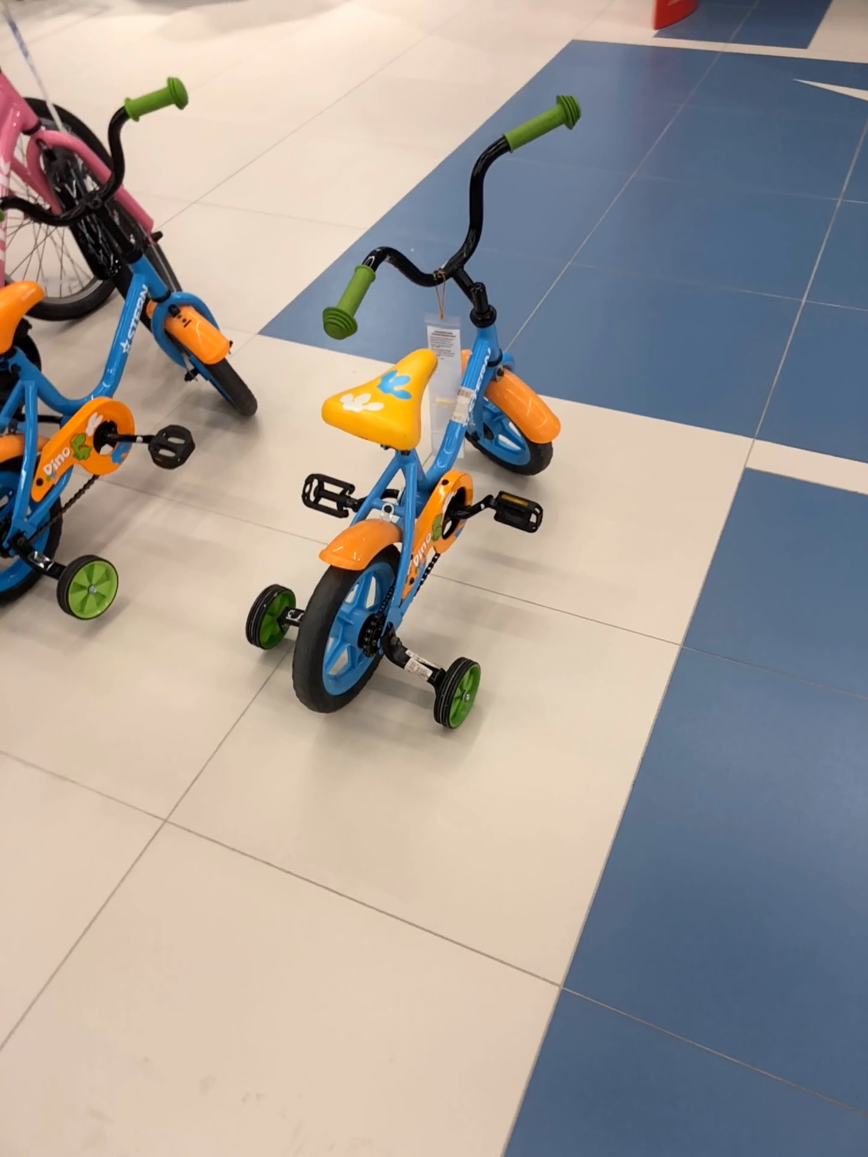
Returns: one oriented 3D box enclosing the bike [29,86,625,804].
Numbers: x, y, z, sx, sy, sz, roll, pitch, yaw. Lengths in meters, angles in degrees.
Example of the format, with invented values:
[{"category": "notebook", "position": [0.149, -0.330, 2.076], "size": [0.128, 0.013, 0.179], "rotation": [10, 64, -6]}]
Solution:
[{"category": "bike", "position": [-0.057, -0.241, 1.421], "size": [0.565, 0.681, 0.754], "rotation": [9, 45, 13]}]
